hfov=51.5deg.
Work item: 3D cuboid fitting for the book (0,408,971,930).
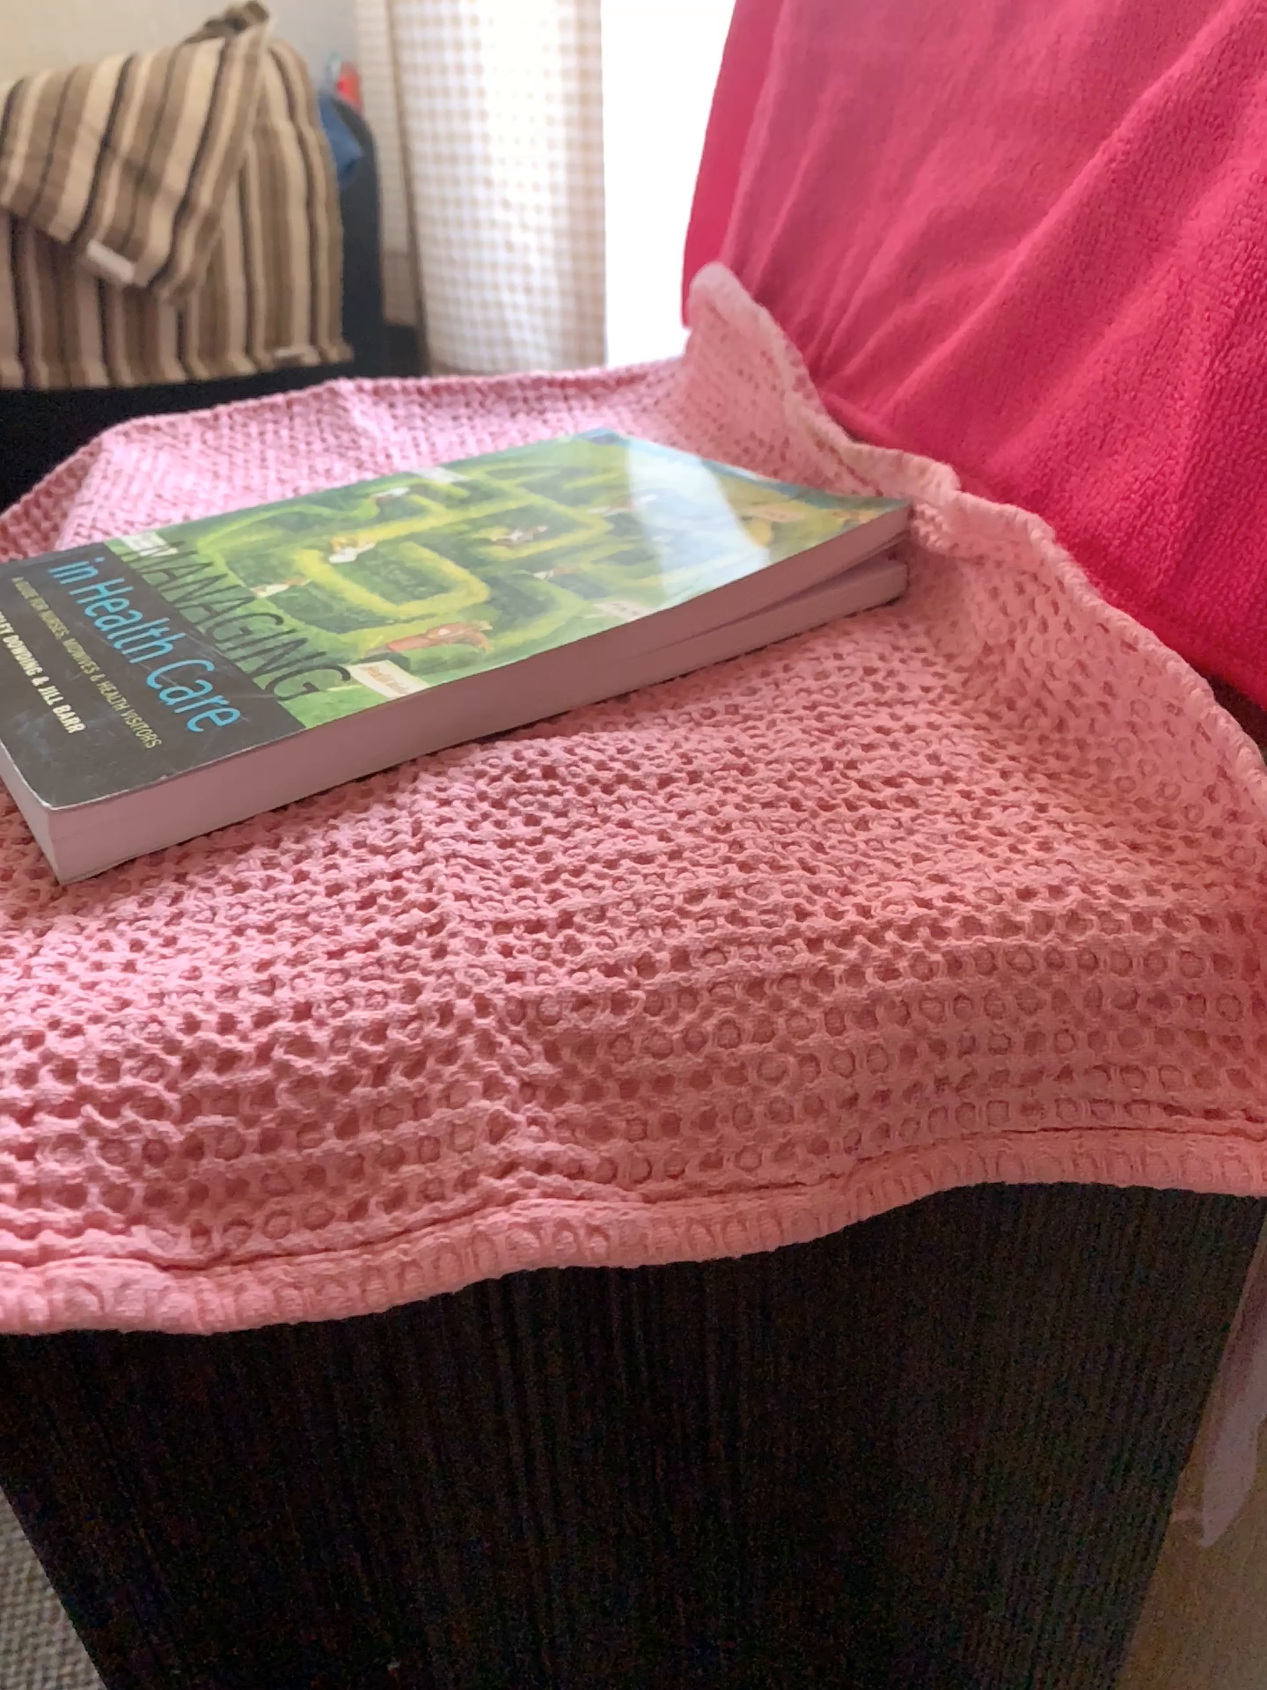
[{"bbox_3d":[-0.057,-0.070,0.359,0.241,0.020,0.171,-22,38,-27],"label":"book"}]
